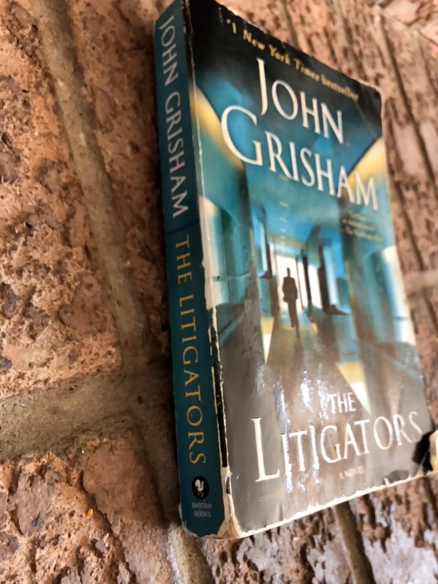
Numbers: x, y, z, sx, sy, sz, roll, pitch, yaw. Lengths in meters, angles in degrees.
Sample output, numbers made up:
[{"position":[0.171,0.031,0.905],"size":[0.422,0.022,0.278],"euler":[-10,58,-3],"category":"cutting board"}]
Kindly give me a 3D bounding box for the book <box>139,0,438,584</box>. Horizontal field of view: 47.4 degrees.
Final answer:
[{"position":[0.036,-0.008,0.212],"size":[0.136,0.033,0.199],"euler":[7,73,-40],"category":"book"}]
